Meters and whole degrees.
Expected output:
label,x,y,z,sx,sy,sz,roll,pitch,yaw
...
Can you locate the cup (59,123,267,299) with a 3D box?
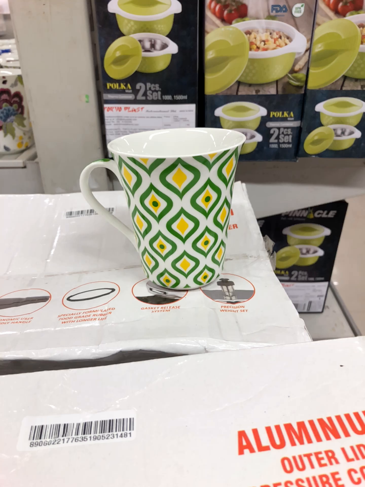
label,x,y,z,sx,sy,sz,roll,pitch,yaw
cup,-0.011,-0.027,0.275,0.110,0.090,0.090,-2,24,-1
